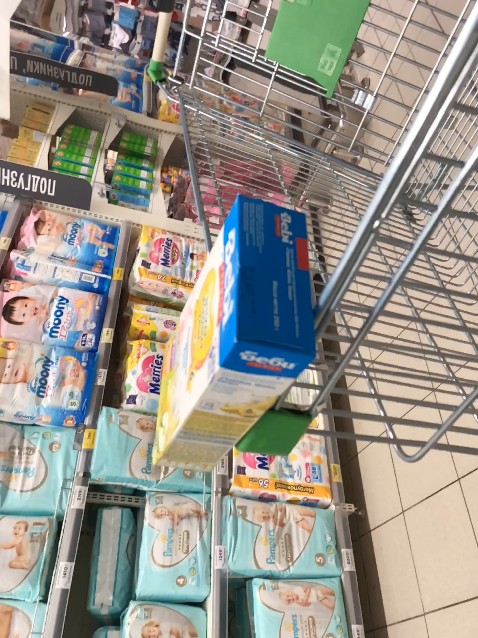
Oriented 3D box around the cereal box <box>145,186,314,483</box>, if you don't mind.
[{"bbox_3d":[-0.016,0.026,0.401,0.211,0.050,0.130,122,156,-50],"label":"cereal box"}]
